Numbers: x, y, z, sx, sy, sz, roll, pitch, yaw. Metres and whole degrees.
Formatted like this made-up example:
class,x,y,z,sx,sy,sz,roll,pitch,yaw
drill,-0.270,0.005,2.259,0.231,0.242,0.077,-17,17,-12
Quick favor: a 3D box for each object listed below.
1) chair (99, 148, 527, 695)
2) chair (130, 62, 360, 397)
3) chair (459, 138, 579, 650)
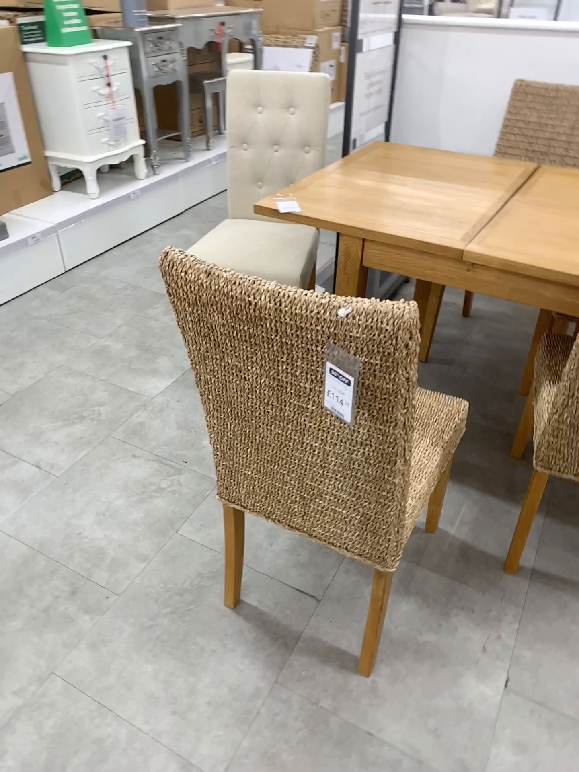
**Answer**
class,x,y,z,sx,sy,sz,roll,pitch,yaw
chair,0.074,0.043,1.224,0.506,0.840,0.578,18,39,23
chair,-0.091,-0.551,1.973,0.425,0.840,0.730,12,37,16
chair,0.760,-0.002,1.311,0.525,0.870,0.569,13,37,18
